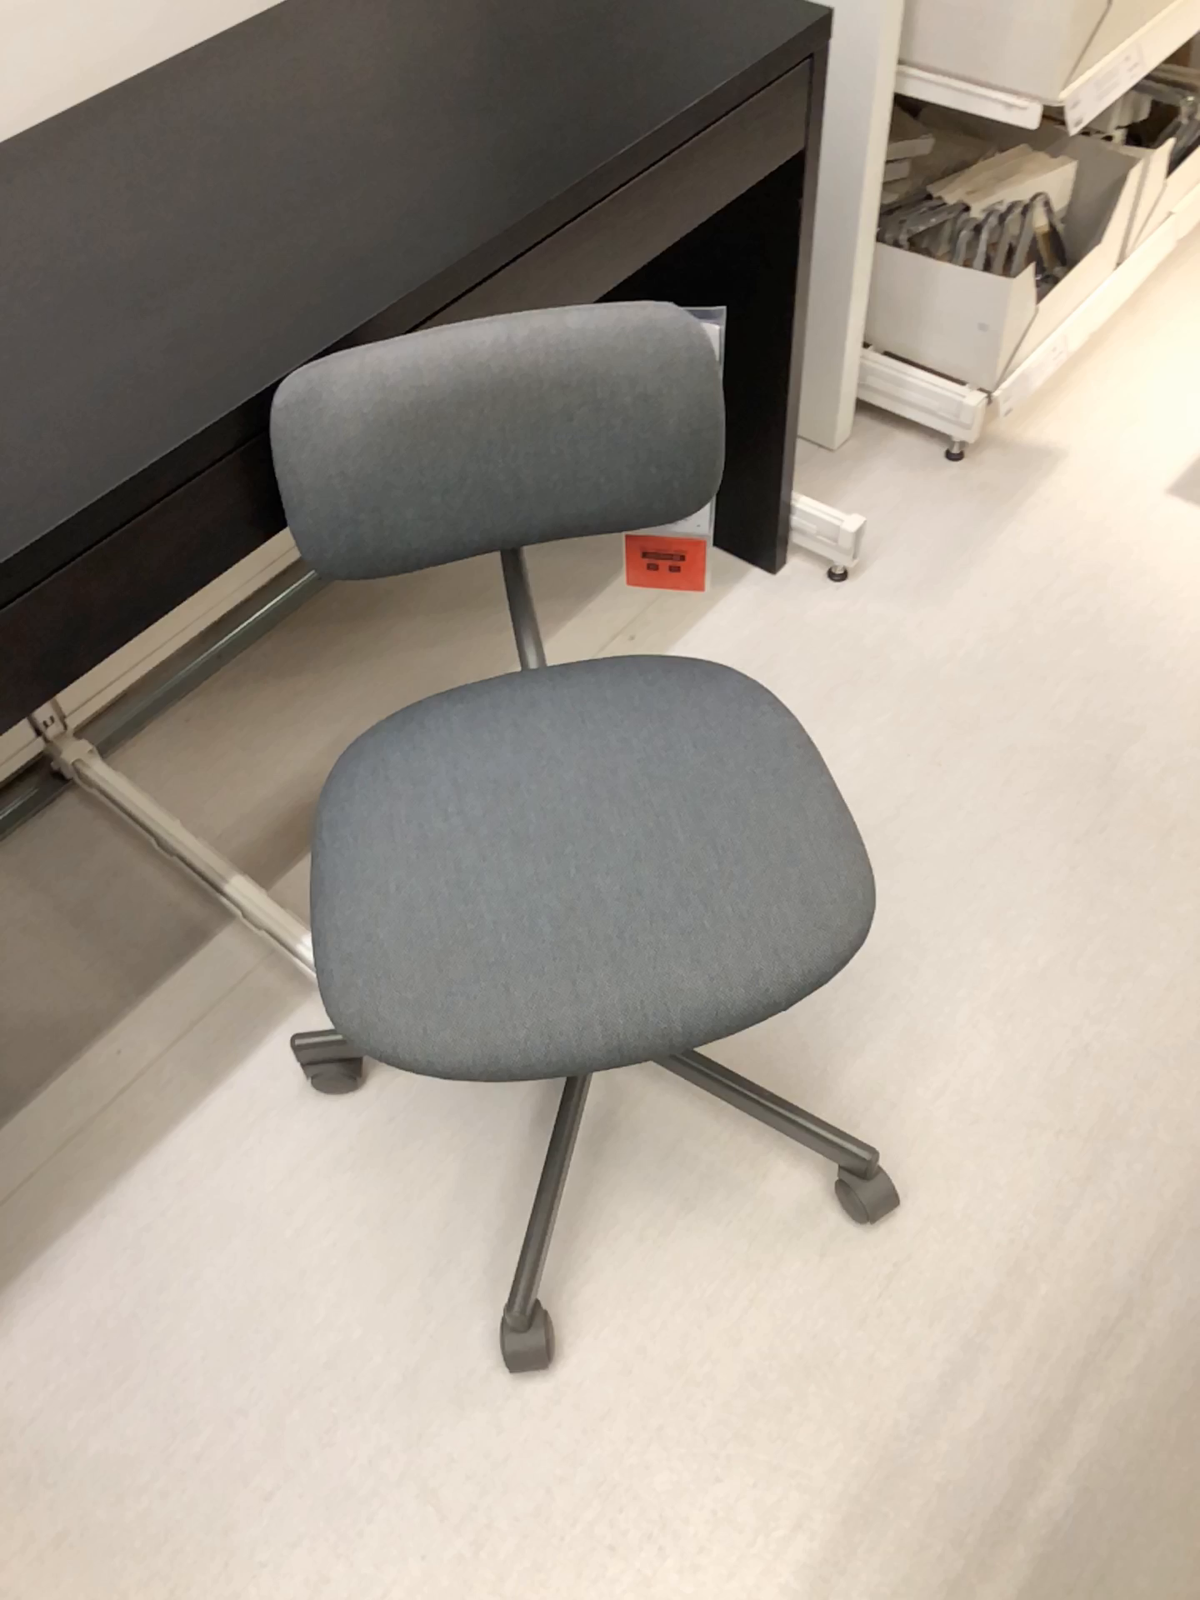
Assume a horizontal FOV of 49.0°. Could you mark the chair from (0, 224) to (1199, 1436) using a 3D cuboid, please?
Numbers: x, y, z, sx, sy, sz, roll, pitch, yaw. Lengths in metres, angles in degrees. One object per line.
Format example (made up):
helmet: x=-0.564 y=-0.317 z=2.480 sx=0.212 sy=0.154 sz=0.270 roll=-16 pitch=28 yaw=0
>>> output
chair: x=-0.020 y=0.047 z=1.077 sx=0.620 sy=0.676 sz=0.593 roll=-12 pitch=51 yaw=-6
